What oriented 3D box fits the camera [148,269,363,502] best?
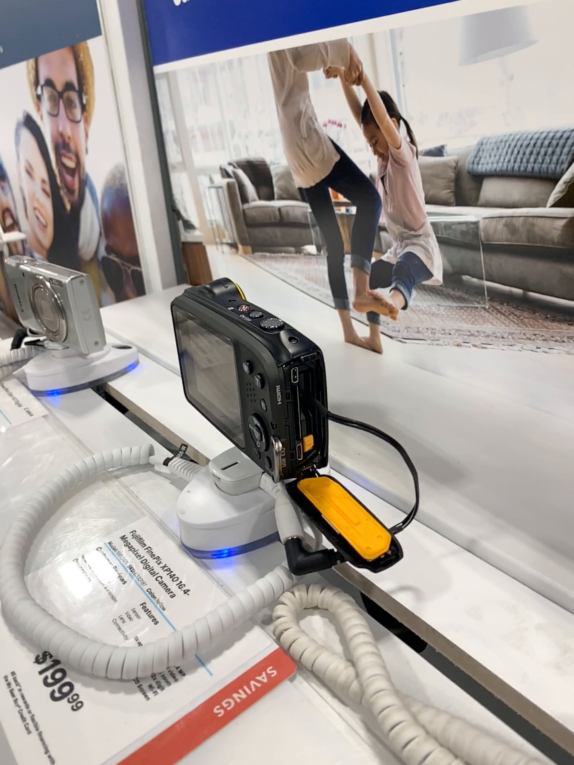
[{"bbox_3d":[-0.019,-0.006,0.273,0.040,0.060,0.111,-19,33,-30],"label":"camera"}]
